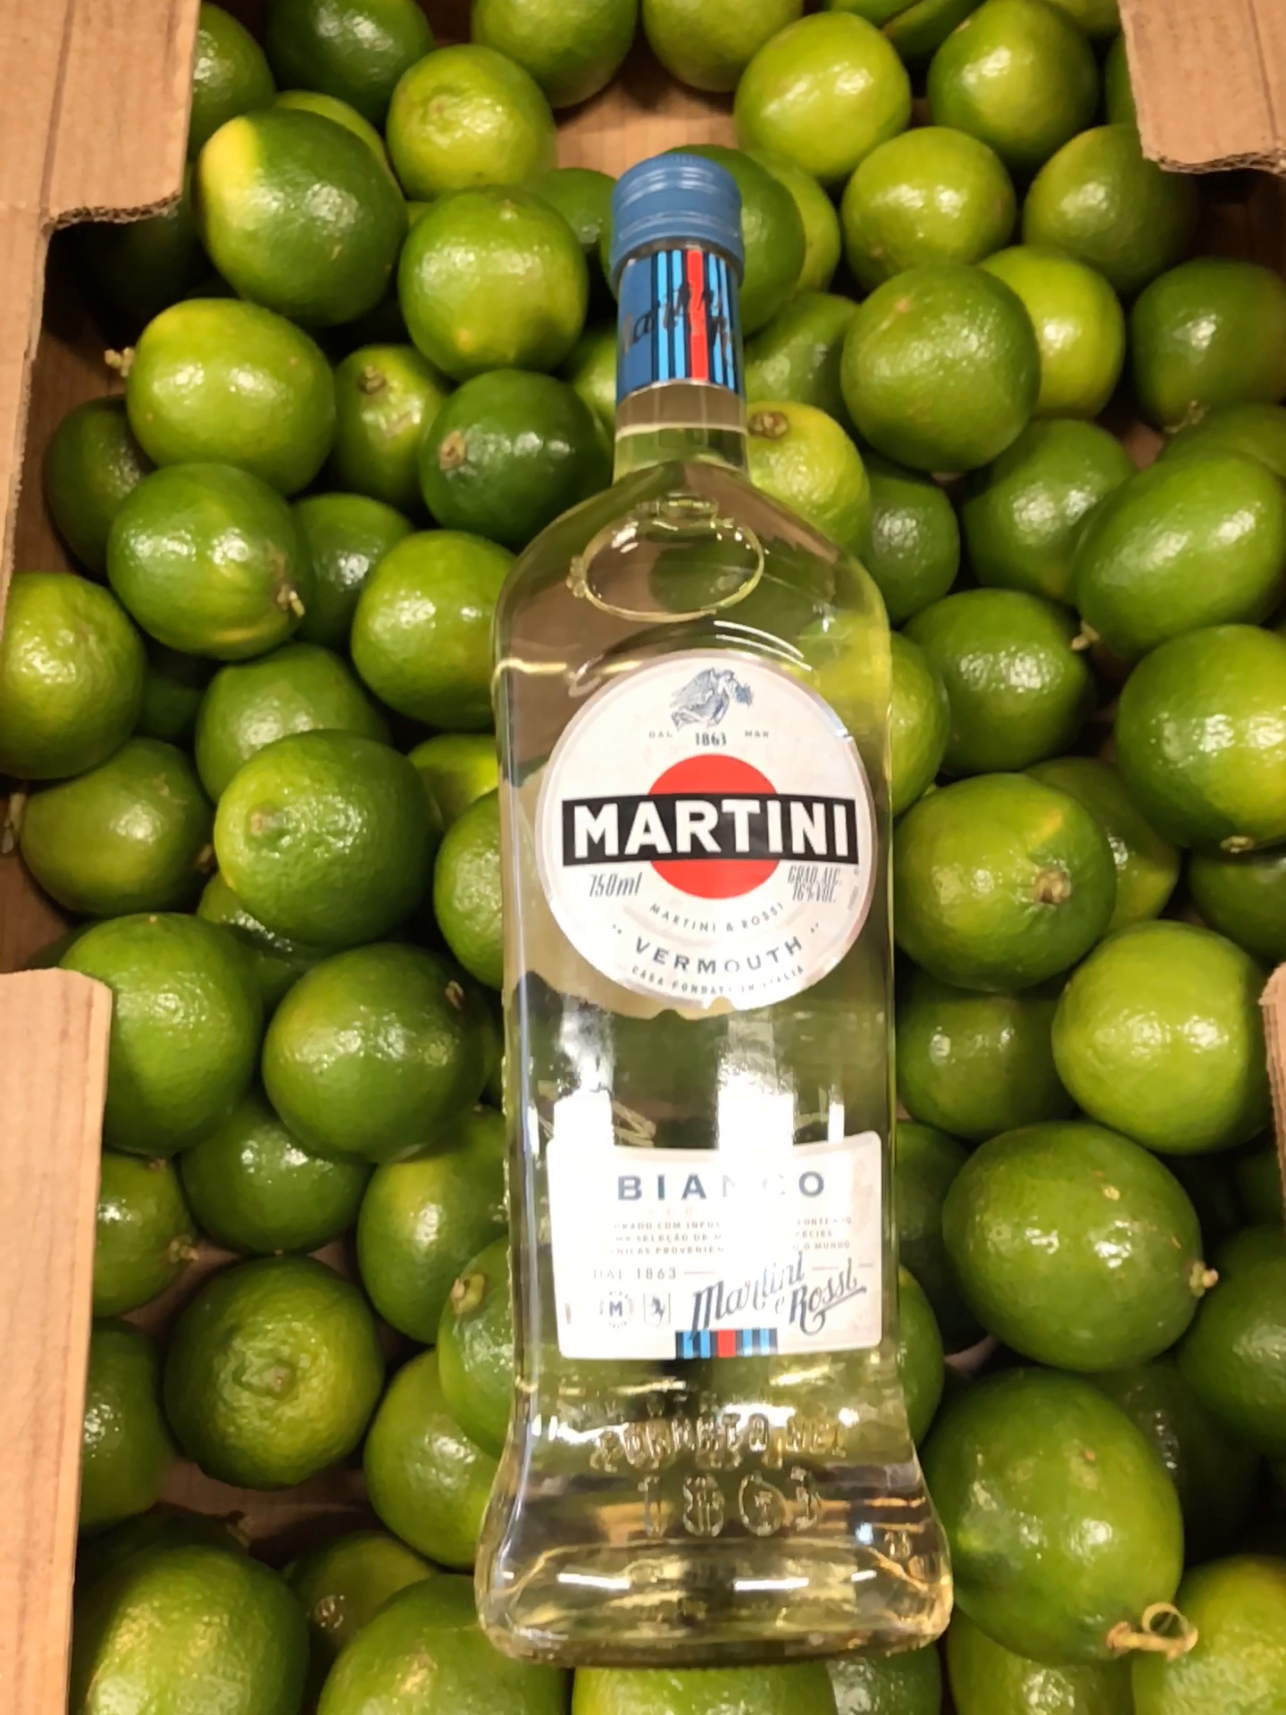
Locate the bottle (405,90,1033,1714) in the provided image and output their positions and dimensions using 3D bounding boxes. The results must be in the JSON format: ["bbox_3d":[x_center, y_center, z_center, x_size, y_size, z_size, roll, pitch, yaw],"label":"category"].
[{"bbox_3d":[0.004,-0.011,0.299,0.100,0.050,0.321,-2,73,-3],"label":"bottle"}]
